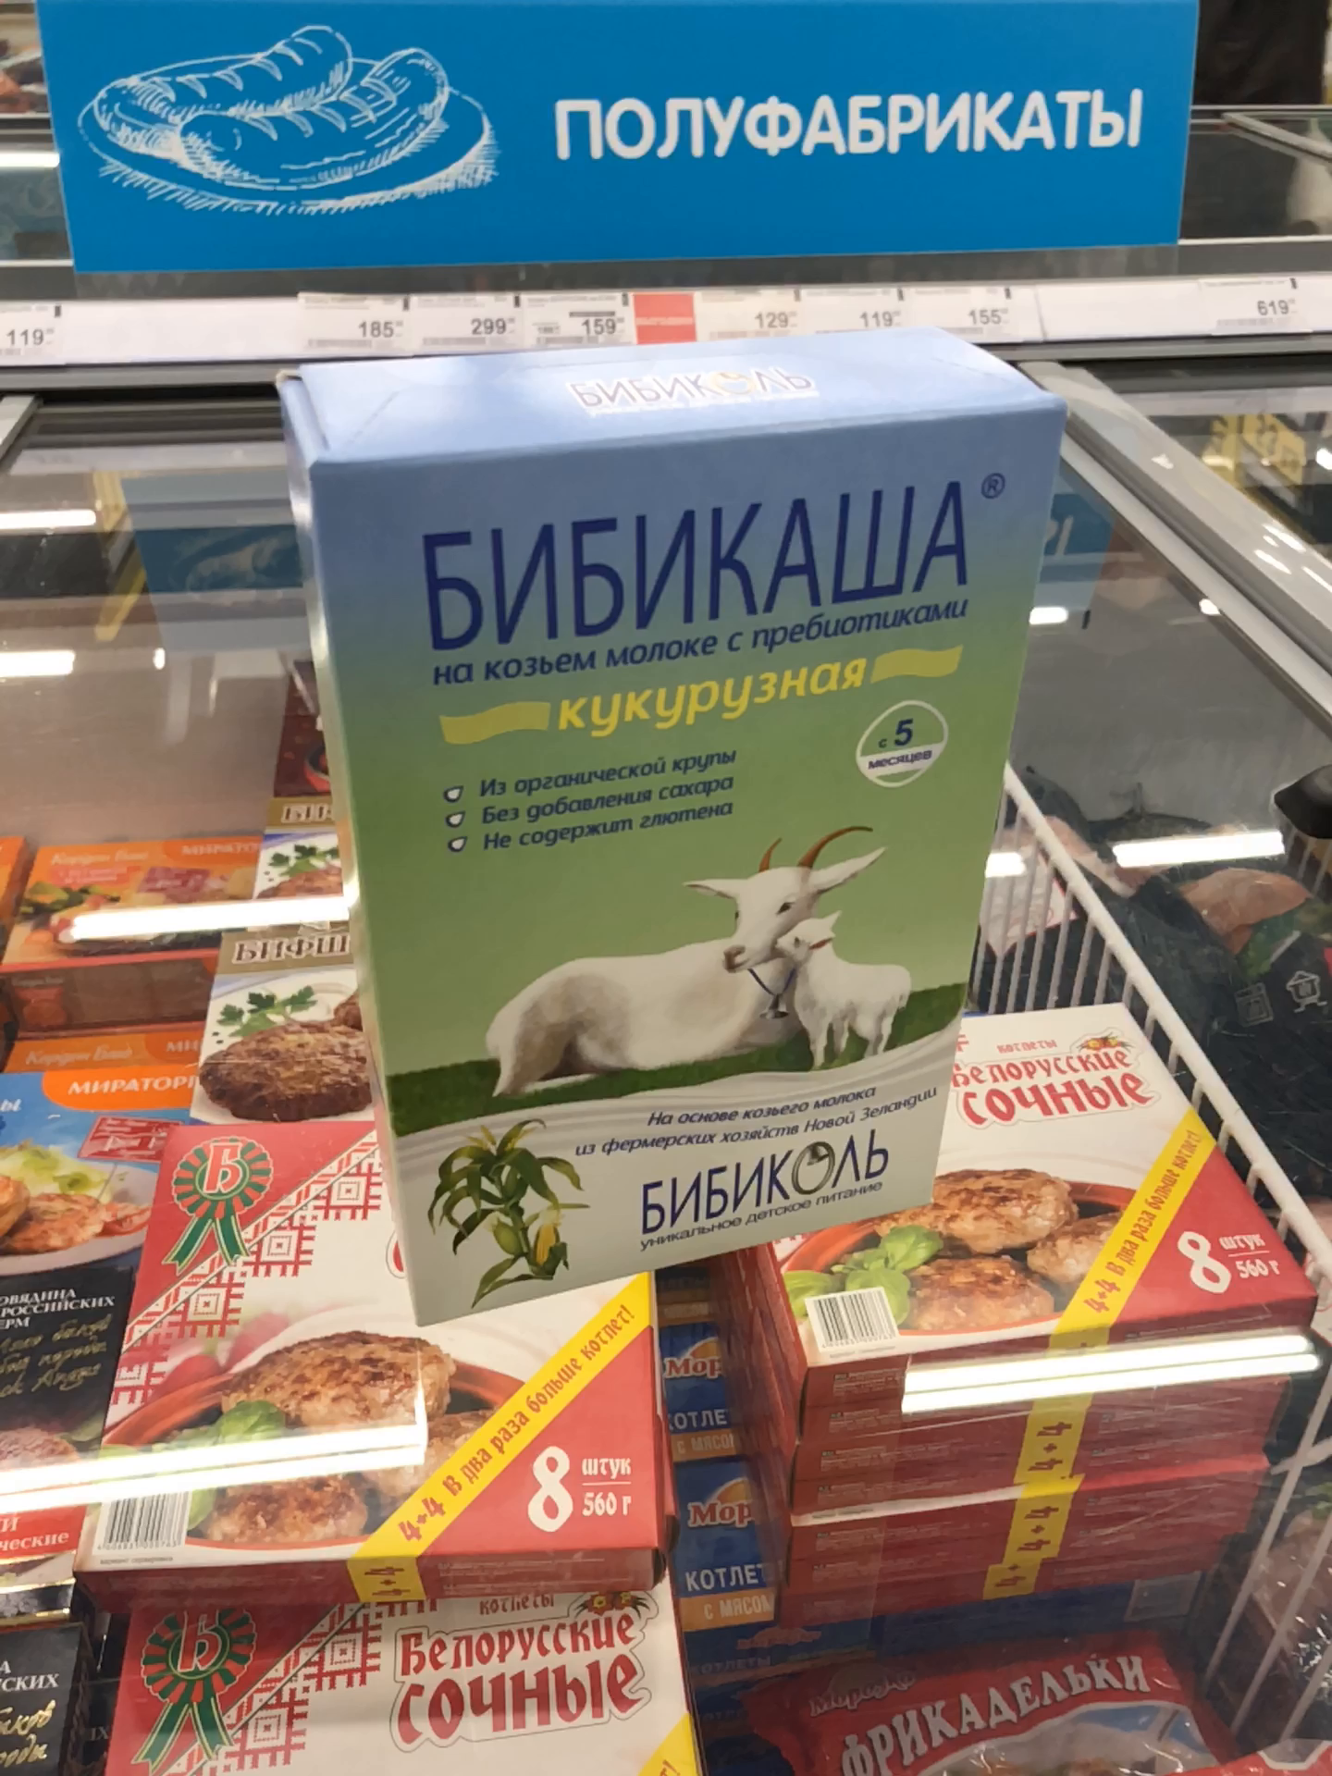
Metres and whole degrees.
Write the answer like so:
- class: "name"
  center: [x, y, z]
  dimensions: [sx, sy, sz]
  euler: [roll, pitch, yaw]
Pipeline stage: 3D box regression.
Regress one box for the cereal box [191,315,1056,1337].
- class: "cereal box"
  center: [-0.009, -0.006, 0.308]
  dimensions: [0.140, 0.199, 0.050]
  euler: [-9, 36, -14]
